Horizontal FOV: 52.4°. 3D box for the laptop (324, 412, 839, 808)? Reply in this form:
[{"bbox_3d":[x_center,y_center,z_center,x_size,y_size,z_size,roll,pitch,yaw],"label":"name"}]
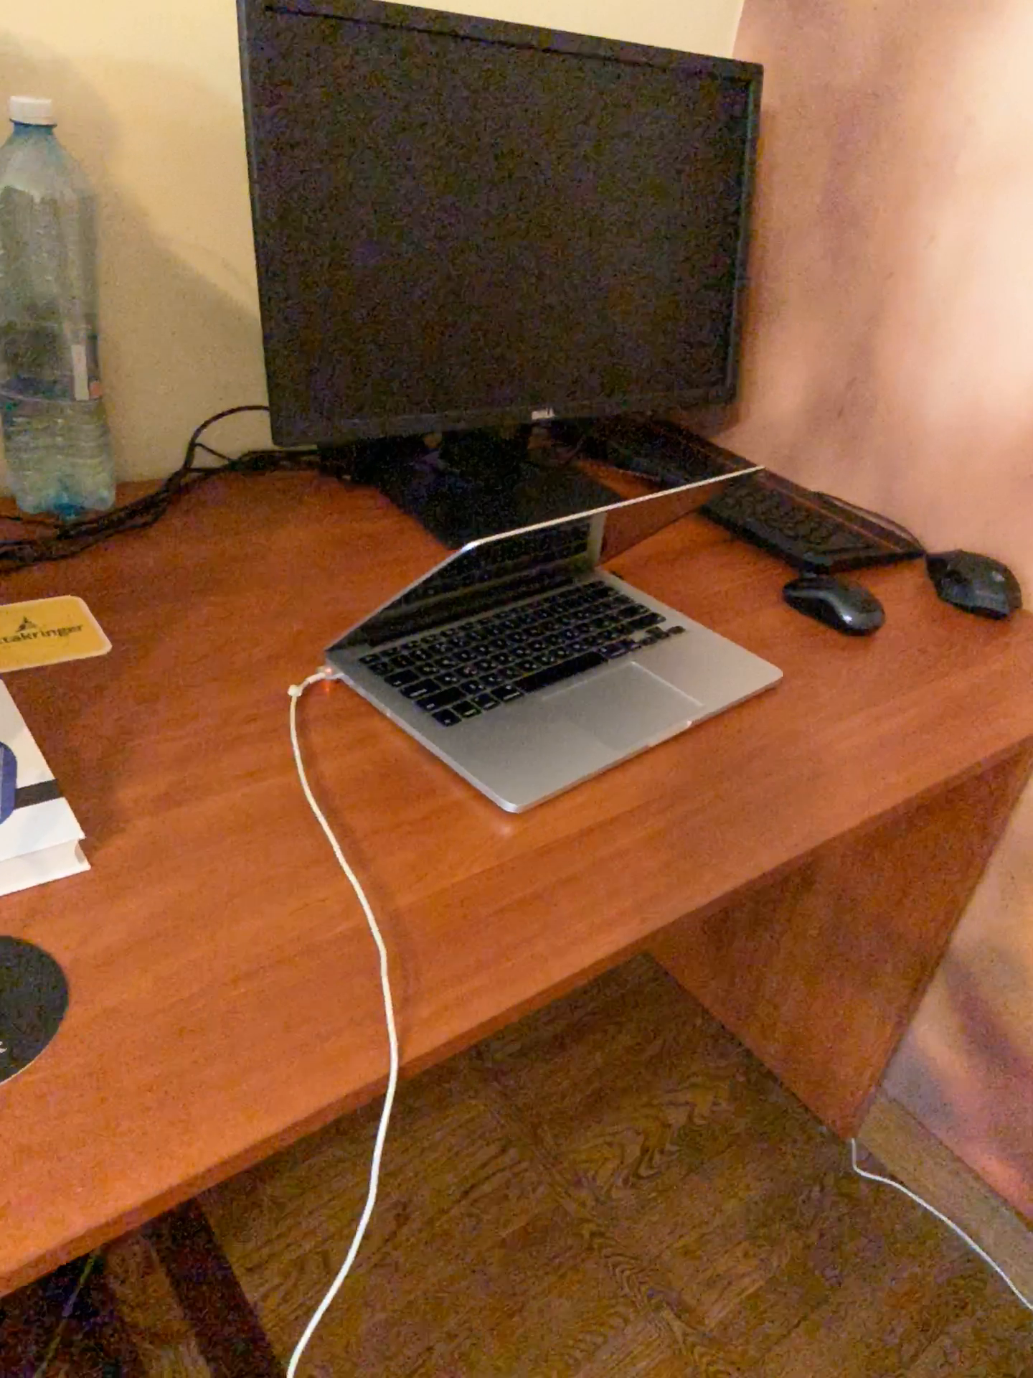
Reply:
[{"bbox_3d":[0.049,-0.080,0.773,0.307,0.148,0.204,-21,43,-40],"label":"laptop"}]
